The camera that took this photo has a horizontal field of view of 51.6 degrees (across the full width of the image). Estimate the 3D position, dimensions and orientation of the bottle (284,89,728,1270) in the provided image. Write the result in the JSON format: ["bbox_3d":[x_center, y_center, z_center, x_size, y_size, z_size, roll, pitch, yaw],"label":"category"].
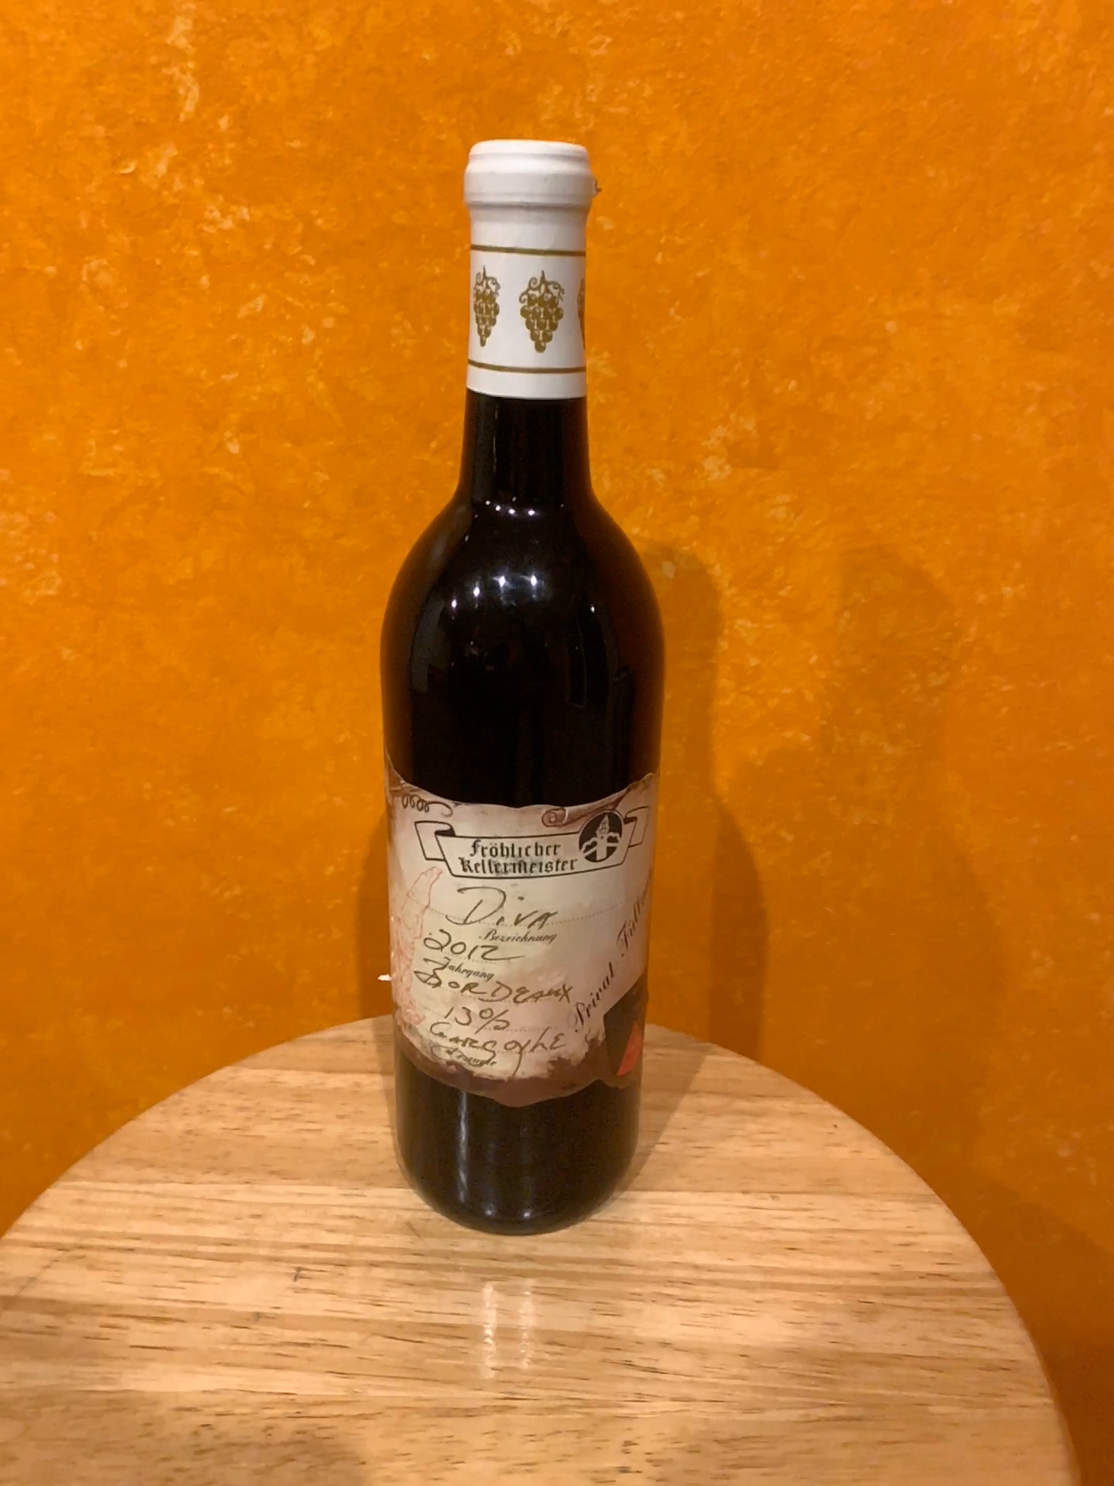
[{"bbox_3d":[-0.011,0.000,0.298,0.080,0.289,0.070,2,24,2],"label":"bottle"}]
